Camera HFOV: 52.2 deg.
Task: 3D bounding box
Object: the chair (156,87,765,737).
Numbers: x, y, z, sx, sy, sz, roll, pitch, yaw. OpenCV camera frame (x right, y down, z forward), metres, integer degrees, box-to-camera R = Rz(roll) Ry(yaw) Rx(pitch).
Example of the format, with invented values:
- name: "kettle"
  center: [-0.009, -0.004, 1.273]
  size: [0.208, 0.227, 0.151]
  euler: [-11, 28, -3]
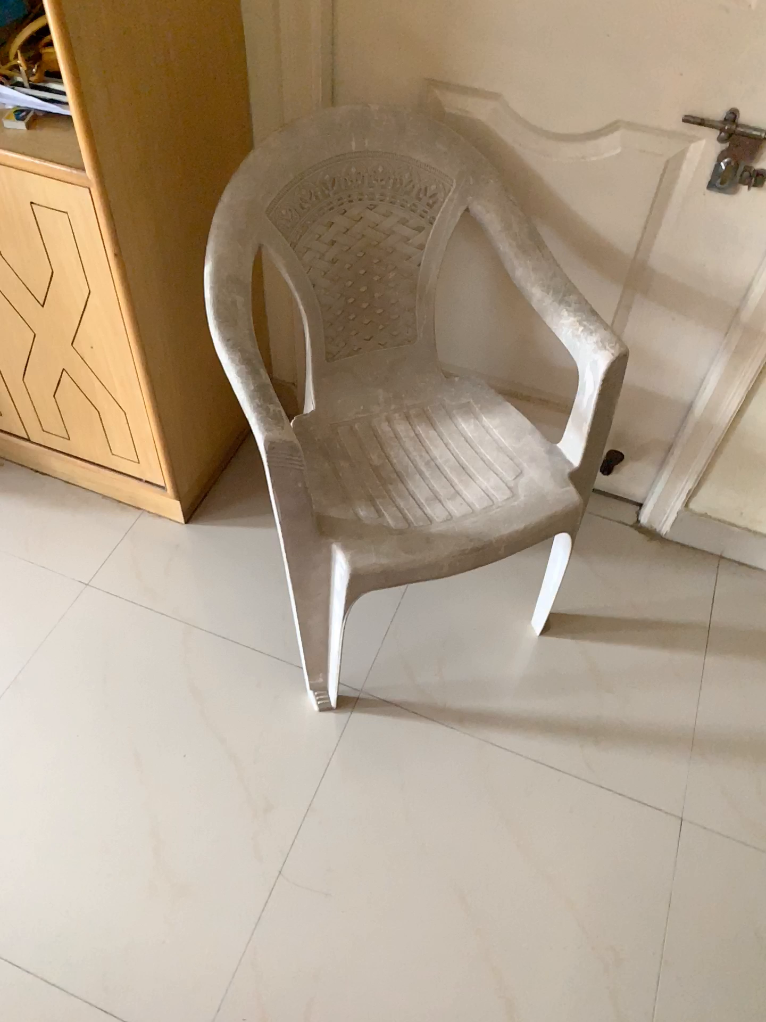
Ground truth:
- name: "chair"
  center: [0.041, -0.164, 1.318]
  size: [0.611, 0.725, 0.674]
  euler: [-13, 53, -14]
